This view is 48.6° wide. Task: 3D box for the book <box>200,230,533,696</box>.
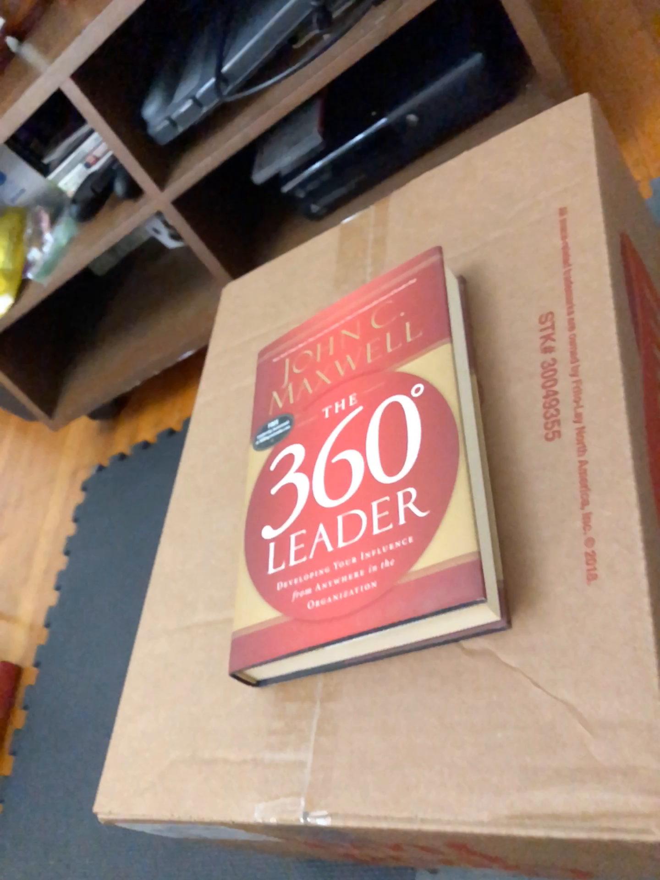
[{"bbox_3d":[0.013,0.009,0.427,0.180,0.030,0.241,-24,46,32],"label":"book"}]
